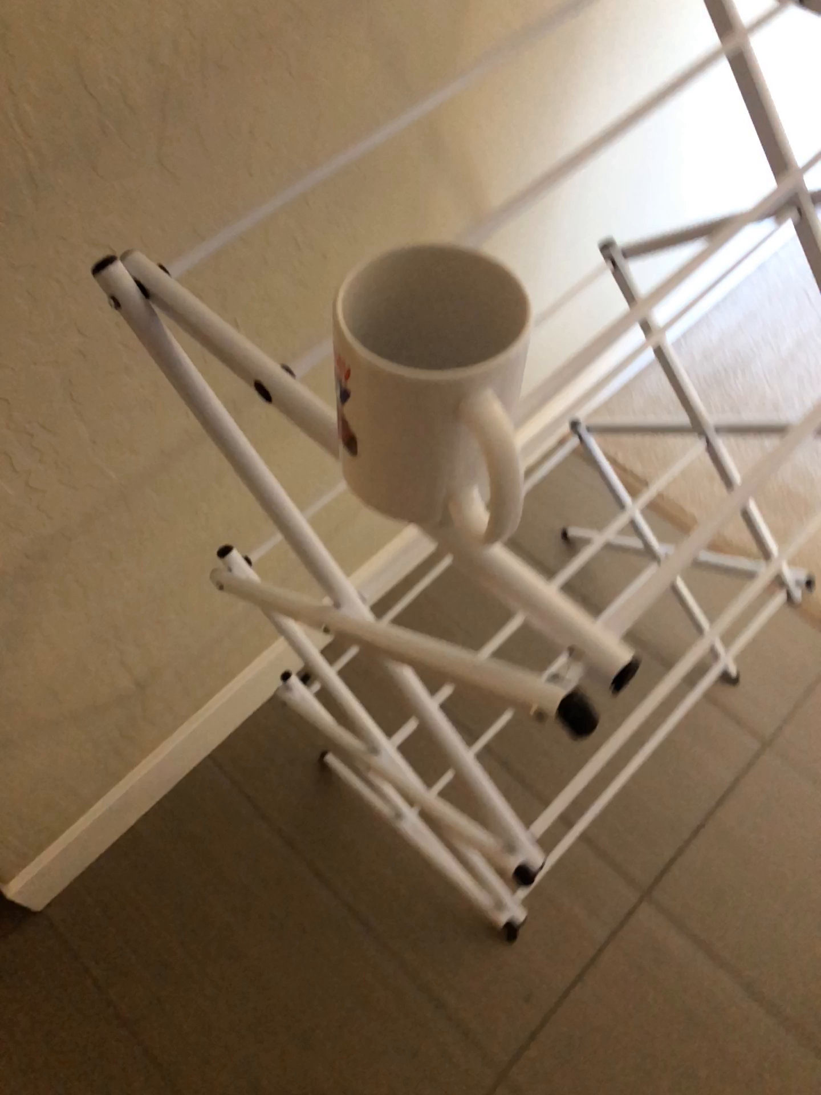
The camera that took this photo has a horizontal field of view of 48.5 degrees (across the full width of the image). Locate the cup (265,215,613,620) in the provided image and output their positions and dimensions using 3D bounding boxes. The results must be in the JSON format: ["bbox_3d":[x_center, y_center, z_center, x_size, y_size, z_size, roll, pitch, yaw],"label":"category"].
[{"bbox_3d":[0.006,-0.059,0.396,0.090,0.090,0.130,-20,57,-15],"label":"cup"}]
